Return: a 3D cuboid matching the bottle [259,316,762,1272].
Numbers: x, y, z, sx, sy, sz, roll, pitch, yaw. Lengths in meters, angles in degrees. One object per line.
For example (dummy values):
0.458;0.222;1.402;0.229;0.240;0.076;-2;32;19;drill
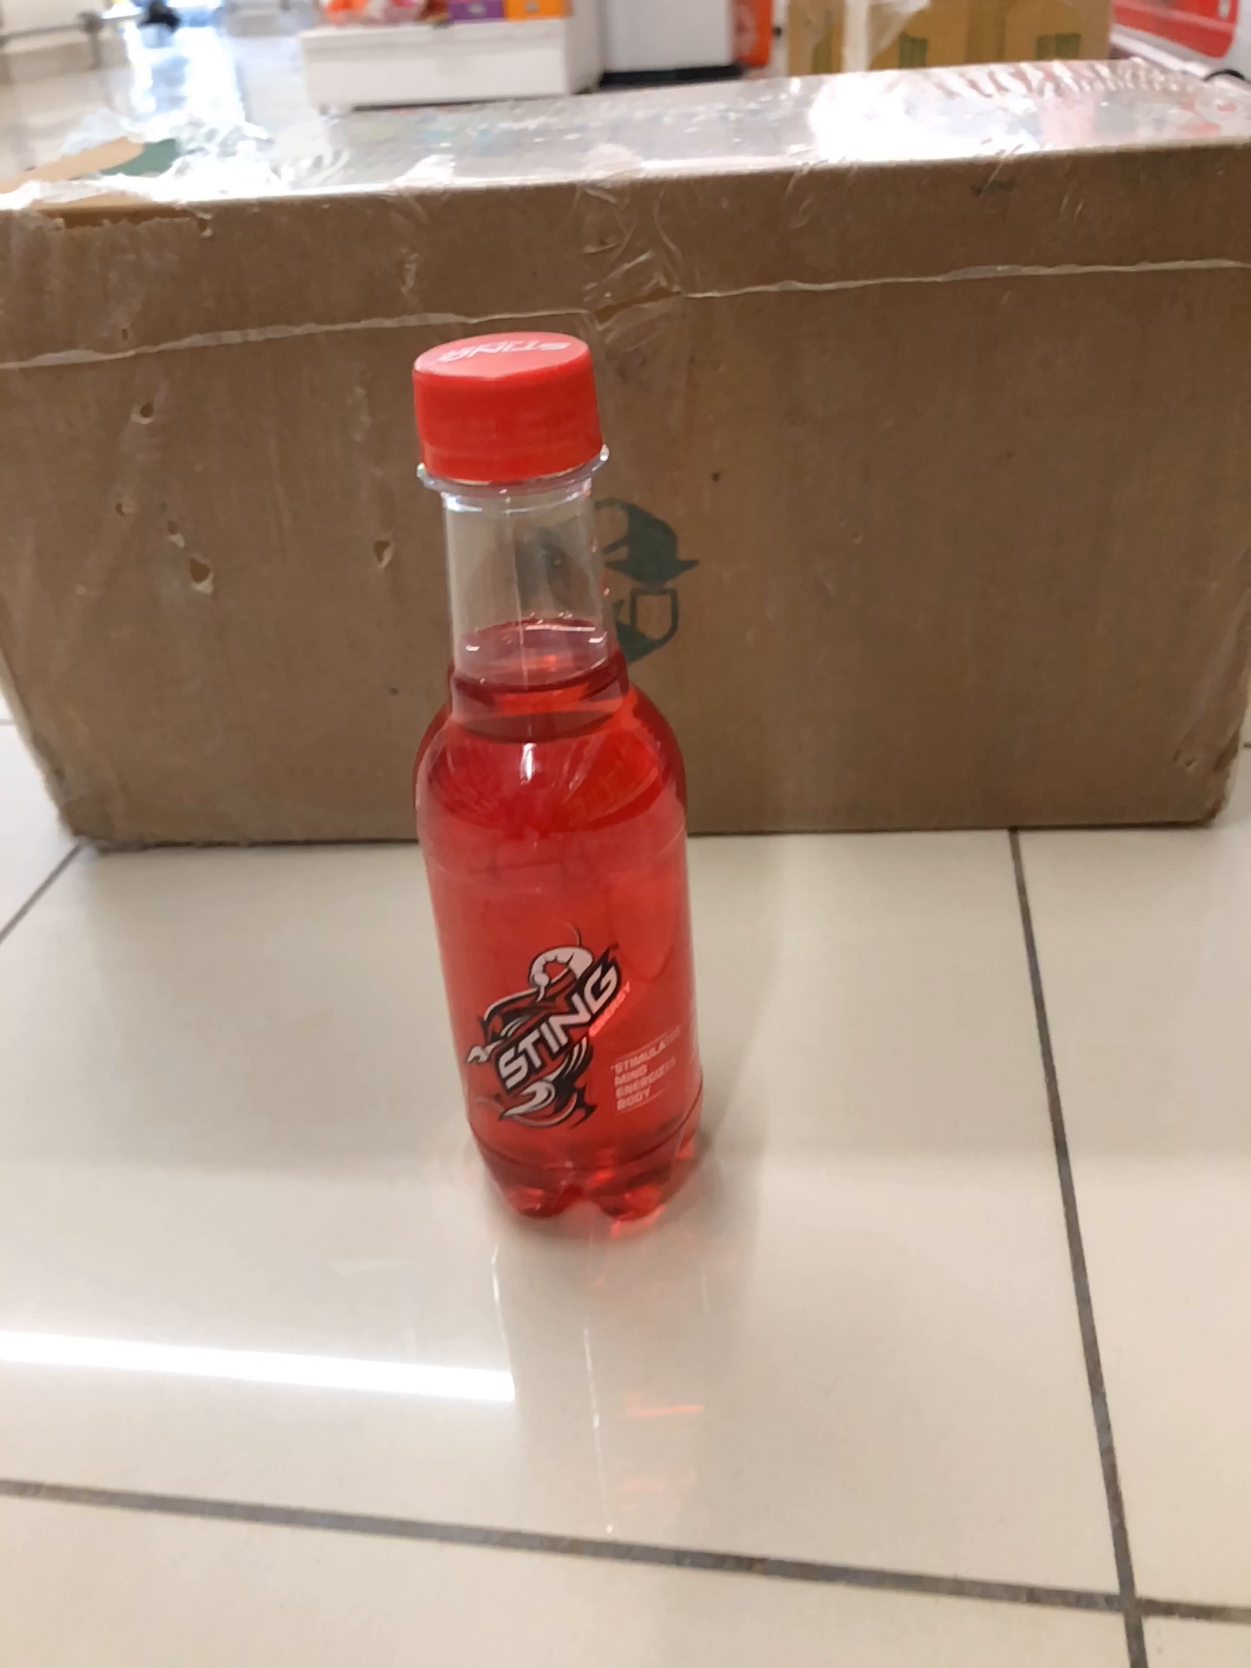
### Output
-0.011;-0.004;0.284;0.070;0.179;0.070;-3;31;2;bottle
